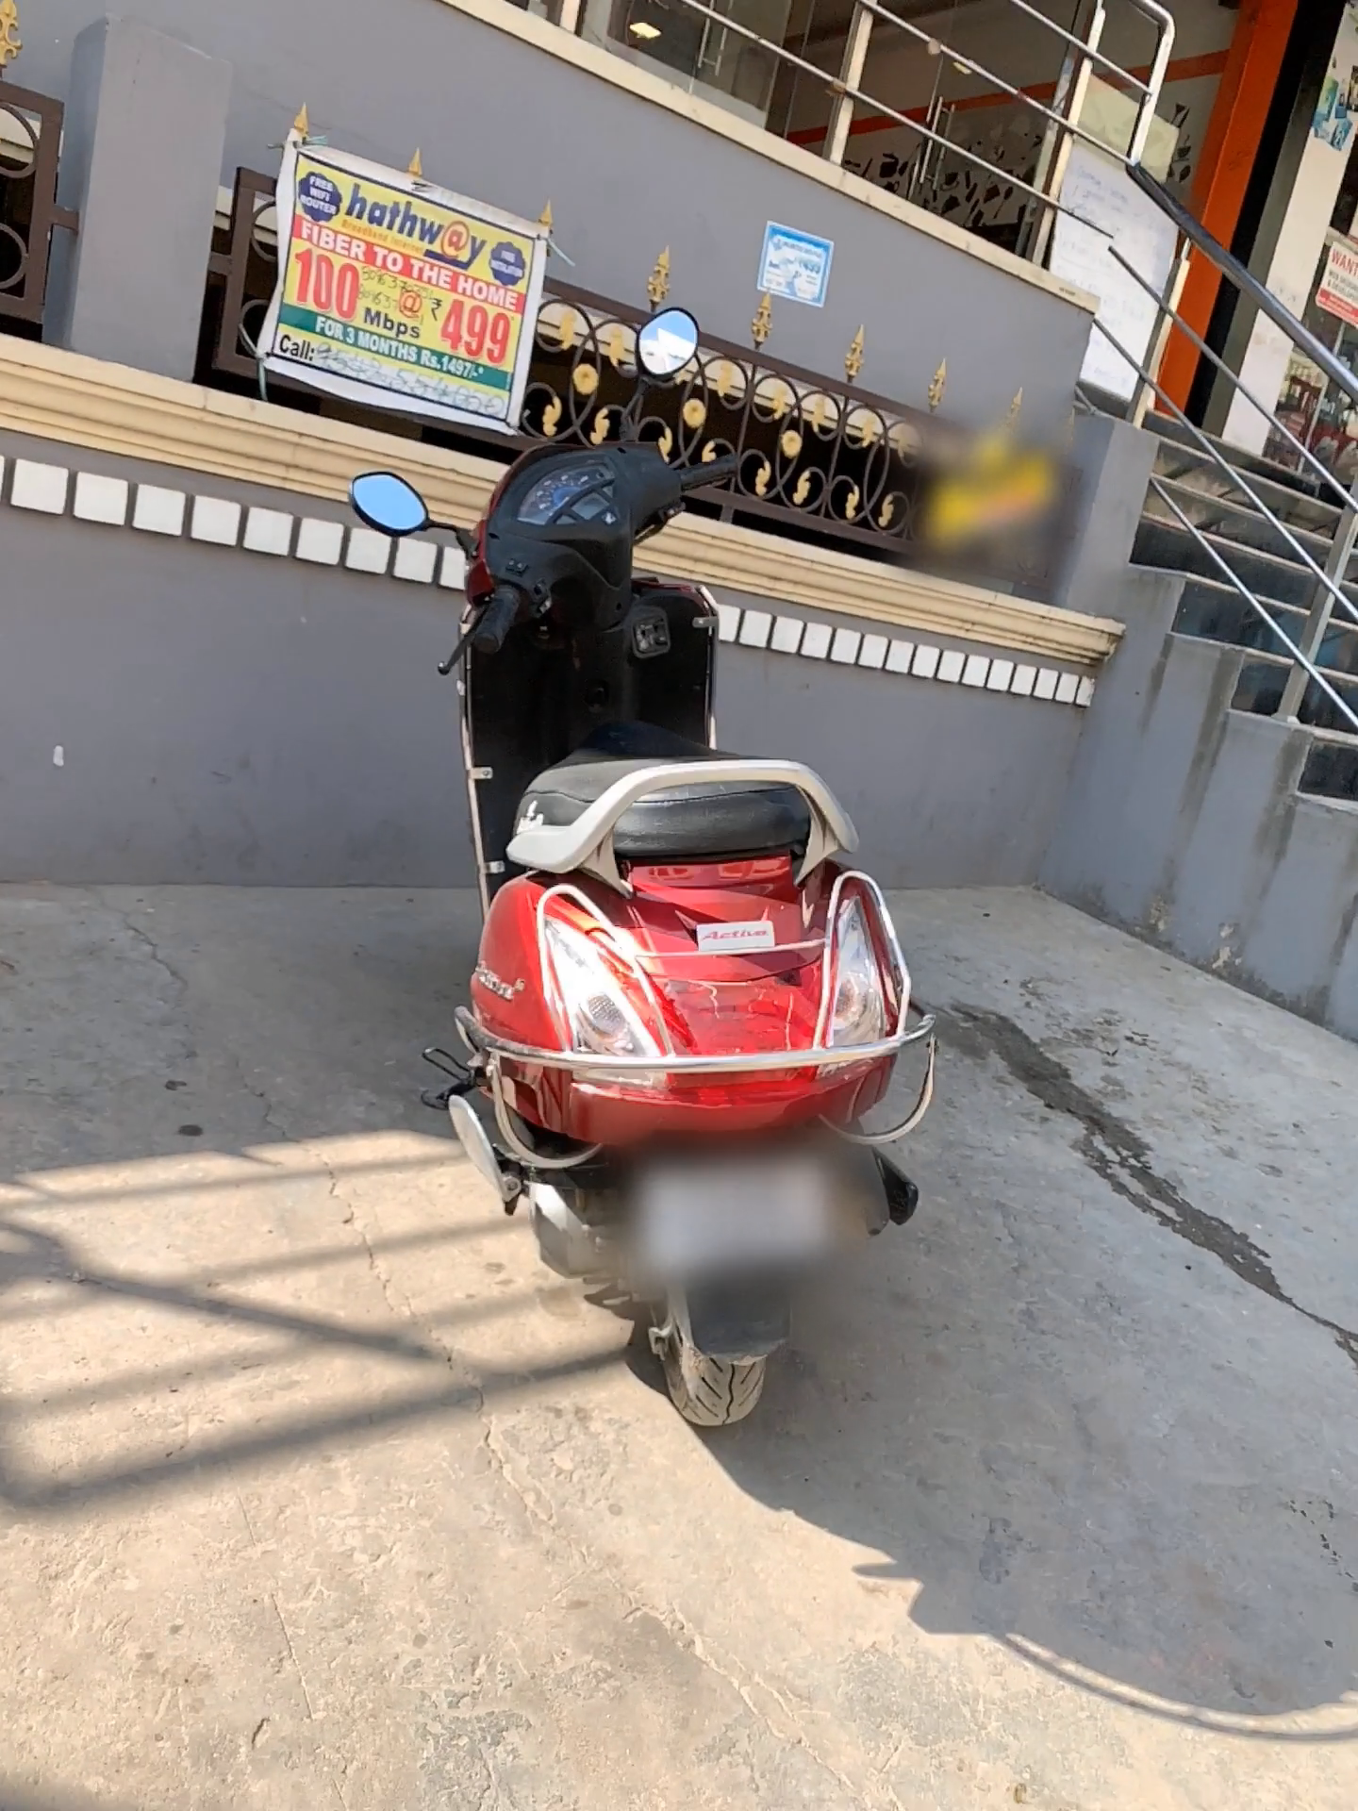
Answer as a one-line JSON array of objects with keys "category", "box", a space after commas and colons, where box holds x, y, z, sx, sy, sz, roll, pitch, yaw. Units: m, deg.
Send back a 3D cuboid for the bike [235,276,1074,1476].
[{"category": "bike", "box": [-0.287, -0.262, 2.189, 0.622, 1.165, 1.760, 8, 17, -20]}]
